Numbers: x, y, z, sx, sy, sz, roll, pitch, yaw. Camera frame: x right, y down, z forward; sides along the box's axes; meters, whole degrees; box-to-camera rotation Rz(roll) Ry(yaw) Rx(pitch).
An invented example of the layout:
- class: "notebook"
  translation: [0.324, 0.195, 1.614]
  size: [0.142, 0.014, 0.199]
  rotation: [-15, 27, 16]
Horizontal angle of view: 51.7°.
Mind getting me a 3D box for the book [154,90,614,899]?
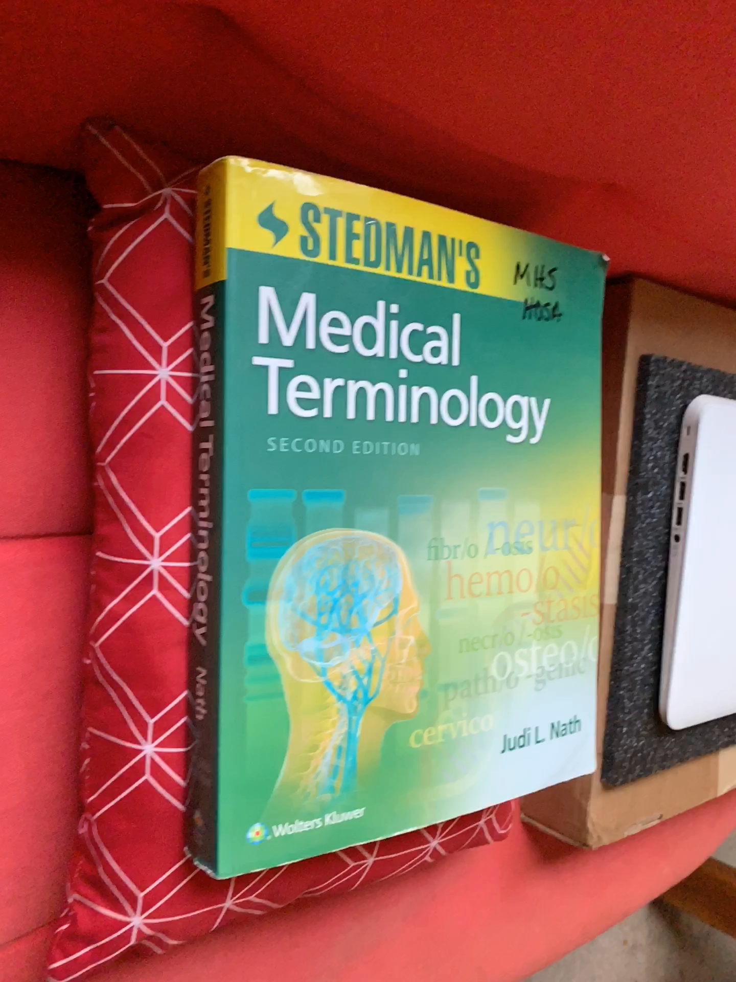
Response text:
- class: "book"
  translation: [0.023, 0.004, 0.370]
  size: [0.241, 0.040, 0.300]
  rotation: [0, 93, -37]
